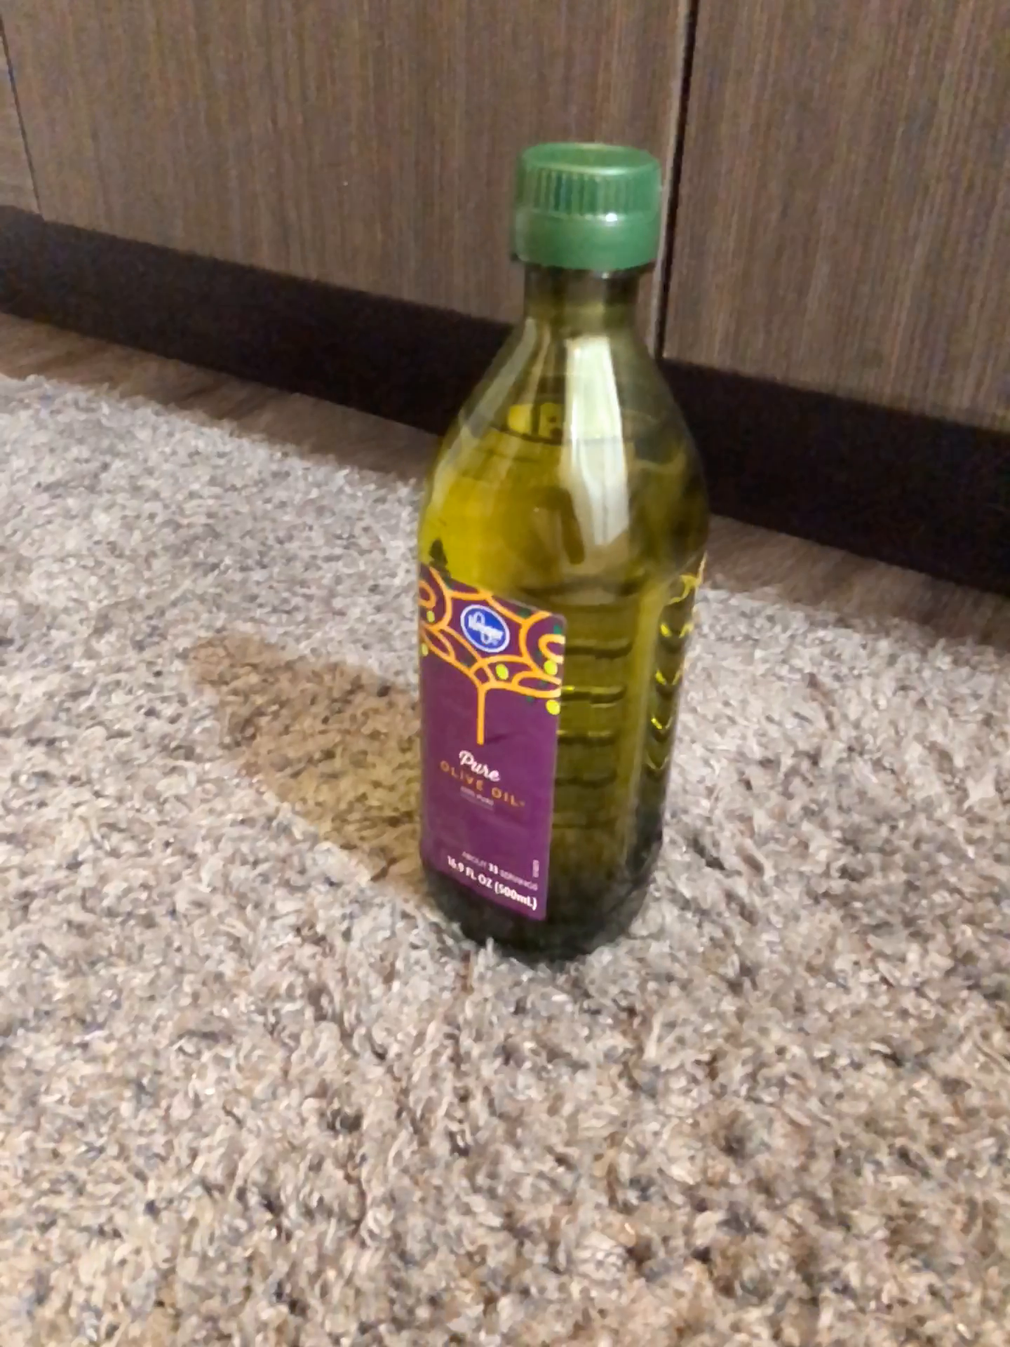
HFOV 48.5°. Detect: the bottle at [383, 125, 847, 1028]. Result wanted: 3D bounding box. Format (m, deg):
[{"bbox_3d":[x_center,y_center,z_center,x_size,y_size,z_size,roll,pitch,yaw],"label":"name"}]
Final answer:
[{"bbox_3d":[0.020,-0.015,0.283,0.070,0.209,0.060,27,43,32],"label":"bottle"}]
